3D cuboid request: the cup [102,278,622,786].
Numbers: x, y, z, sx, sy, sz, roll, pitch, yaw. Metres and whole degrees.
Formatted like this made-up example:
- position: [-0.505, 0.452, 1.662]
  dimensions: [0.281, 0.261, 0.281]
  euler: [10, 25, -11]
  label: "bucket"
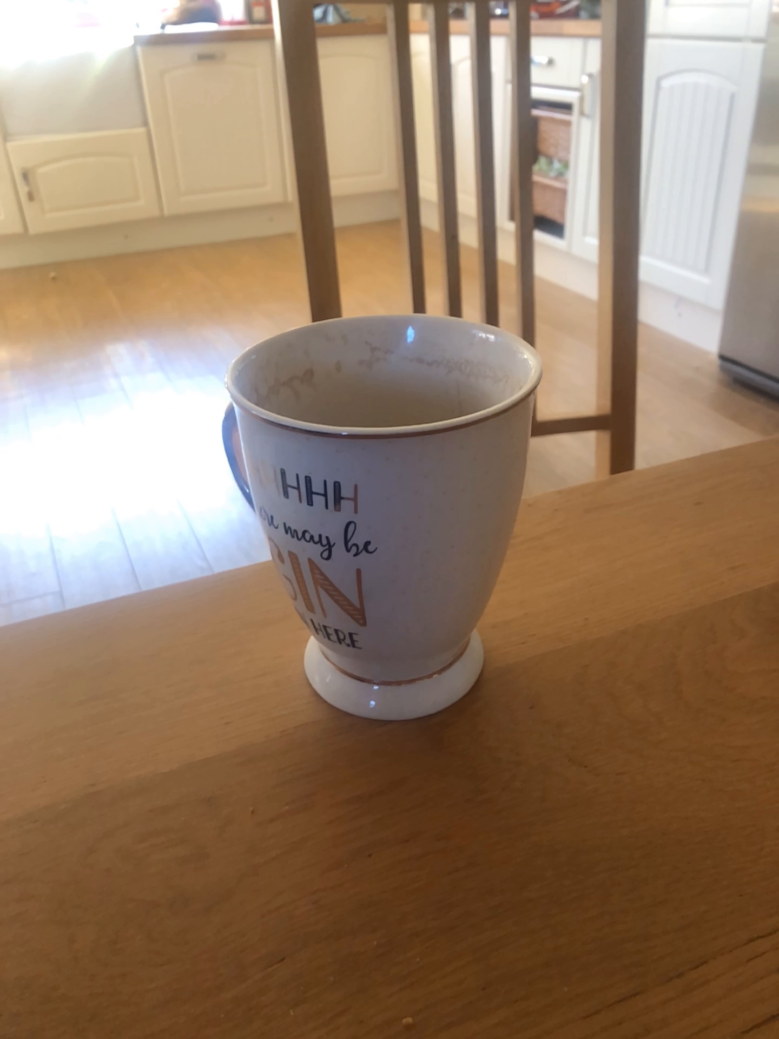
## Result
- position: [-0.009, -0.009, 0.313]
  dimensions: [0.135, 0.111, 0.109]
  euler: [23, 39, 36]
  label: "cup"
